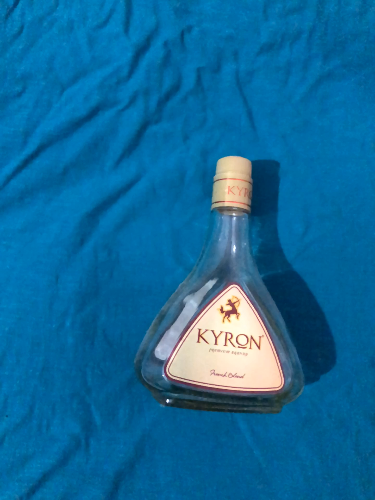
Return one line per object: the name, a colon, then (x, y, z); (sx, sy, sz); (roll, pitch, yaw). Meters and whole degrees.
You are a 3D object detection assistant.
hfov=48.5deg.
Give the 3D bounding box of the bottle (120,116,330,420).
bottle: (0.024, 0.013, 0.291); (0.120, 0.060, 0.180); (6, 84, -7)
